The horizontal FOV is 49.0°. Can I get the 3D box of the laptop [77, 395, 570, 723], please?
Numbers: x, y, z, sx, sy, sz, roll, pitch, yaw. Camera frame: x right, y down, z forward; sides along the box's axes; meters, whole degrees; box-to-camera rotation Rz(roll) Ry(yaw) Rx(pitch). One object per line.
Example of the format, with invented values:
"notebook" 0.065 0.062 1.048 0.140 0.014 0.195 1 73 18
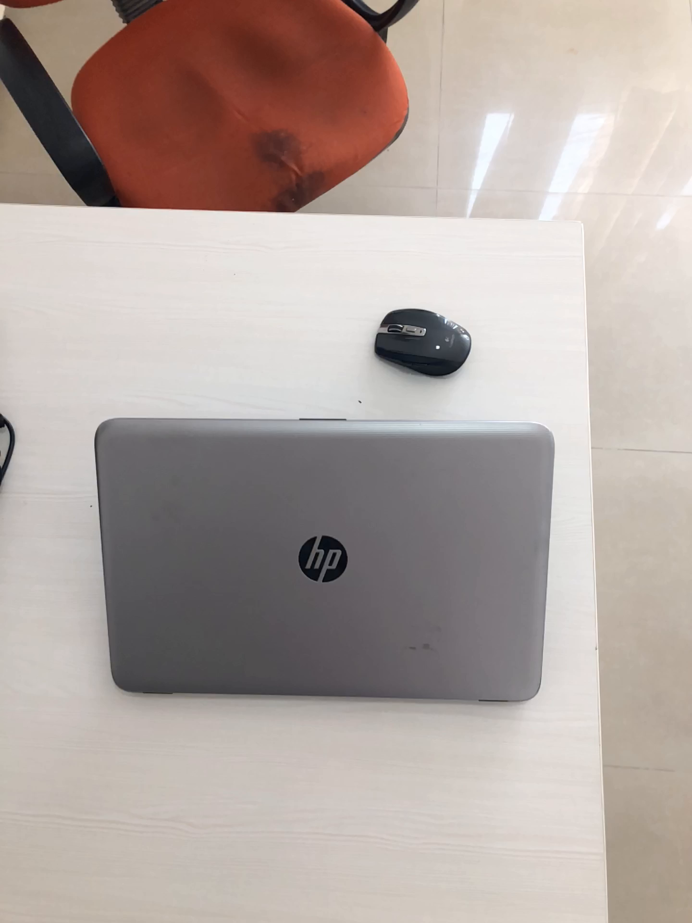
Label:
"laptop" -0.018 0.084 0.658 0.369 0.121 0.251 0 74 3
